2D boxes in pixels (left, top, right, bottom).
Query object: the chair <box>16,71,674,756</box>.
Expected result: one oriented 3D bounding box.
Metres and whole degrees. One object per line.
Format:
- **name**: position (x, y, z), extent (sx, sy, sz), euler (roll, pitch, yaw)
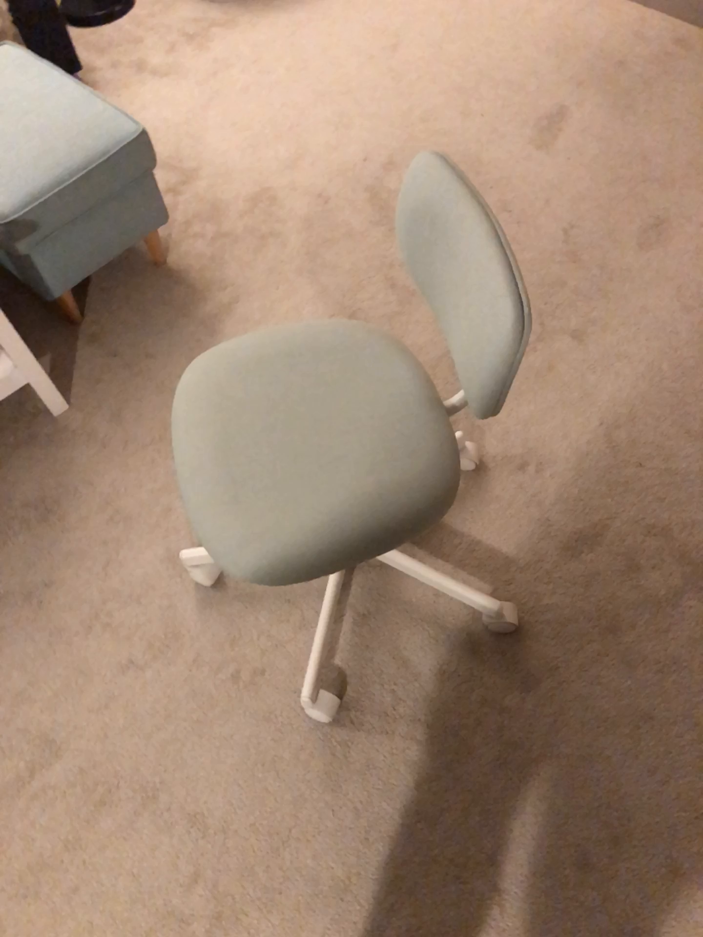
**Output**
- **chair**: position (-0.036, -0.041, 1.192), extent (0.640, 0.677, 0.663), euler (-14, 57, -1)
